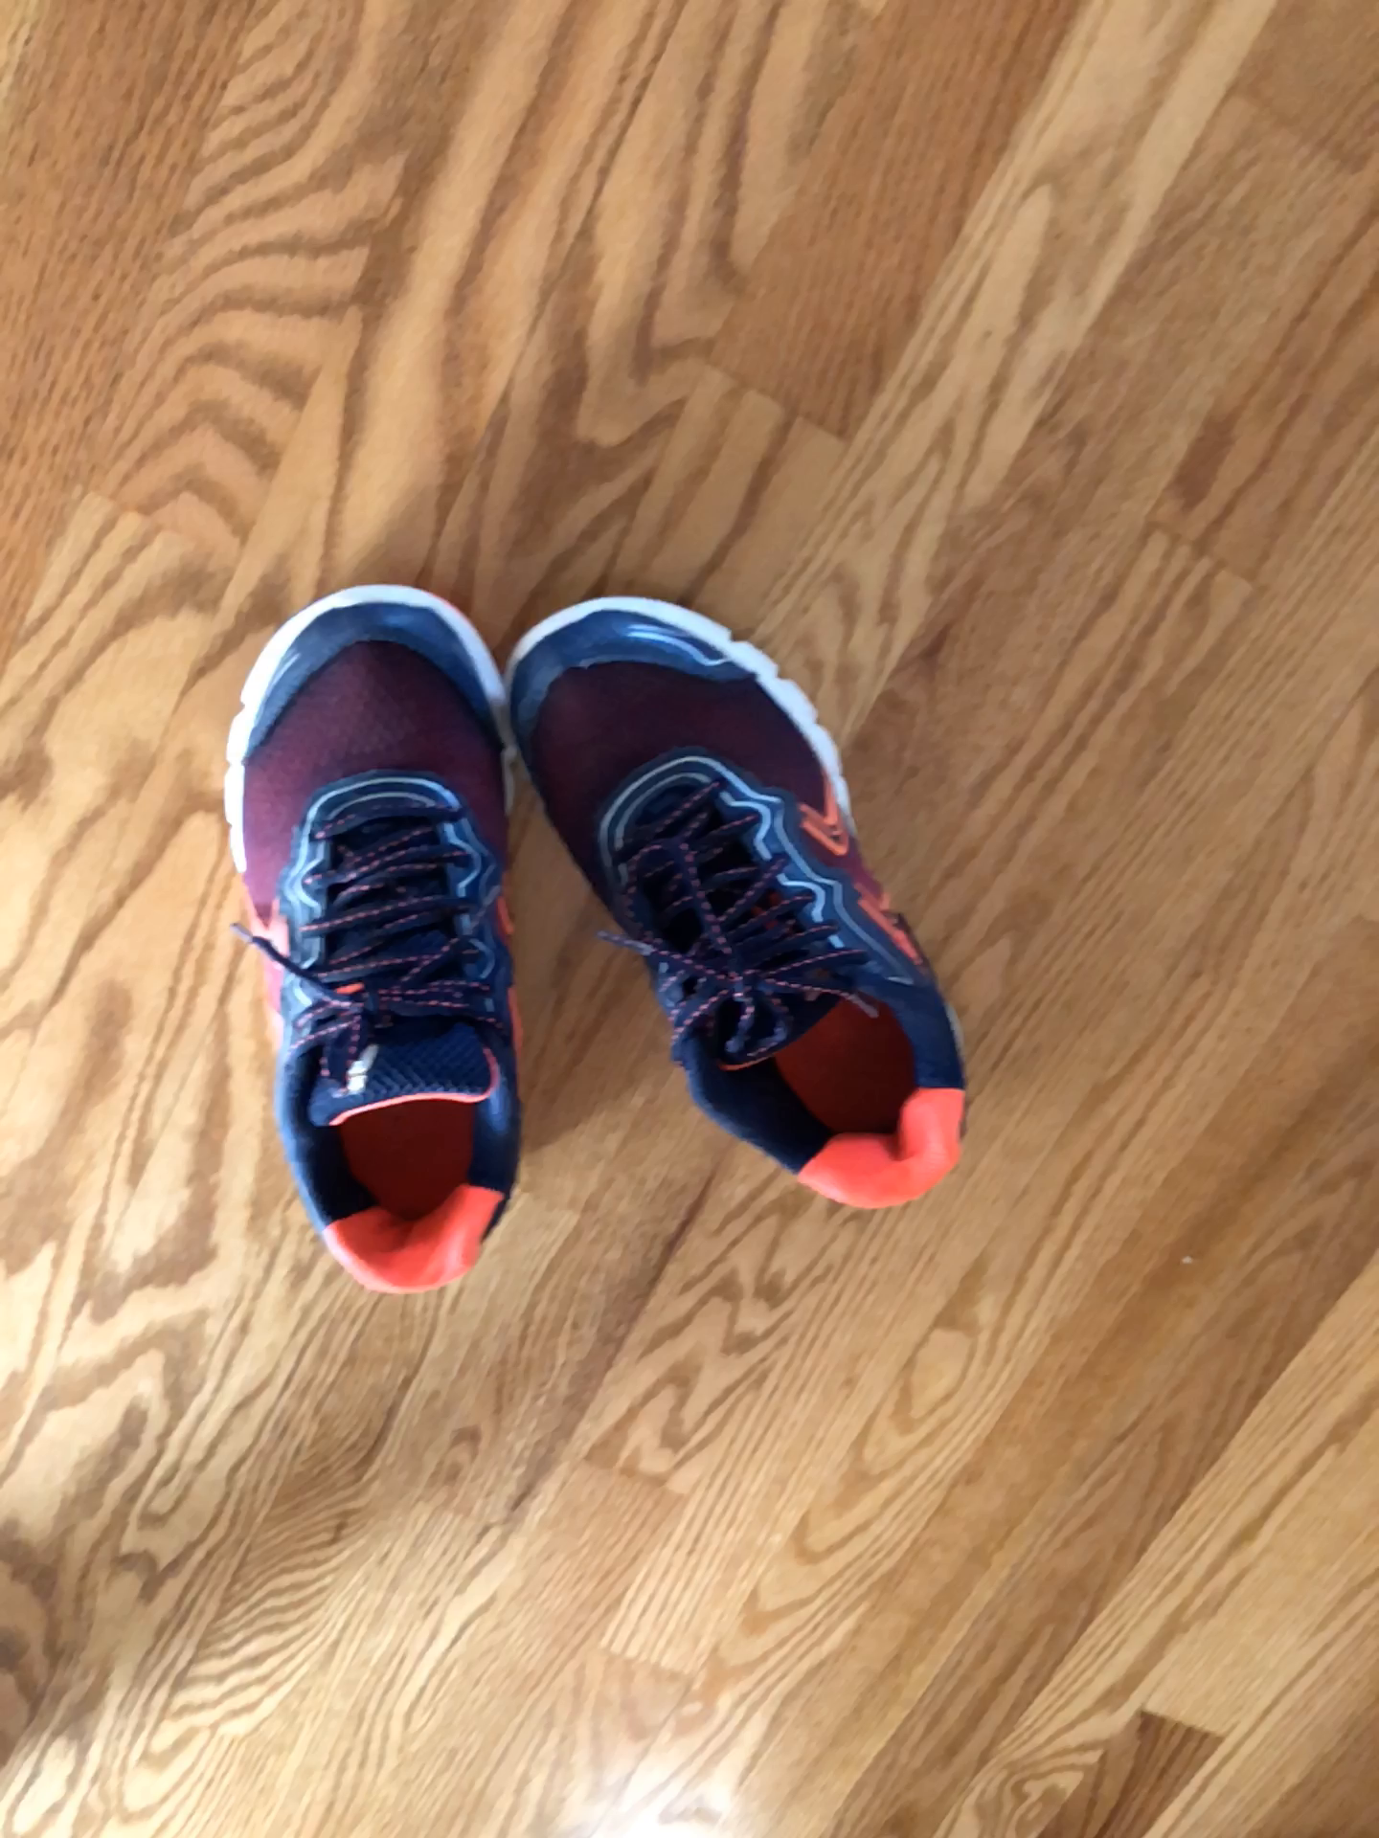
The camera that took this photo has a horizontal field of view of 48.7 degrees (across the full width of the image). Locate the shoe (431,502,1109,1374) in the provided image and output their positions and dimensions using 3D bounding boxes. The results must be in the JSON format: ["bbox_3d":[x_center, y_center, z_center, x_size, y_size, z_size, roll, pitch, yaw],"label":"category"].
[{"bbox_3d":[0.031,0.009,0.554,0.116,0.110,0.278,-28,112,4],"label":"shoe"}]

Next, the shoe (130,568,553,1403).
[{"bbox_3d":[-0.111,0.022,0.541,0.108,0.110,0.270,-3,112,-6],"label":"shoe"}]
